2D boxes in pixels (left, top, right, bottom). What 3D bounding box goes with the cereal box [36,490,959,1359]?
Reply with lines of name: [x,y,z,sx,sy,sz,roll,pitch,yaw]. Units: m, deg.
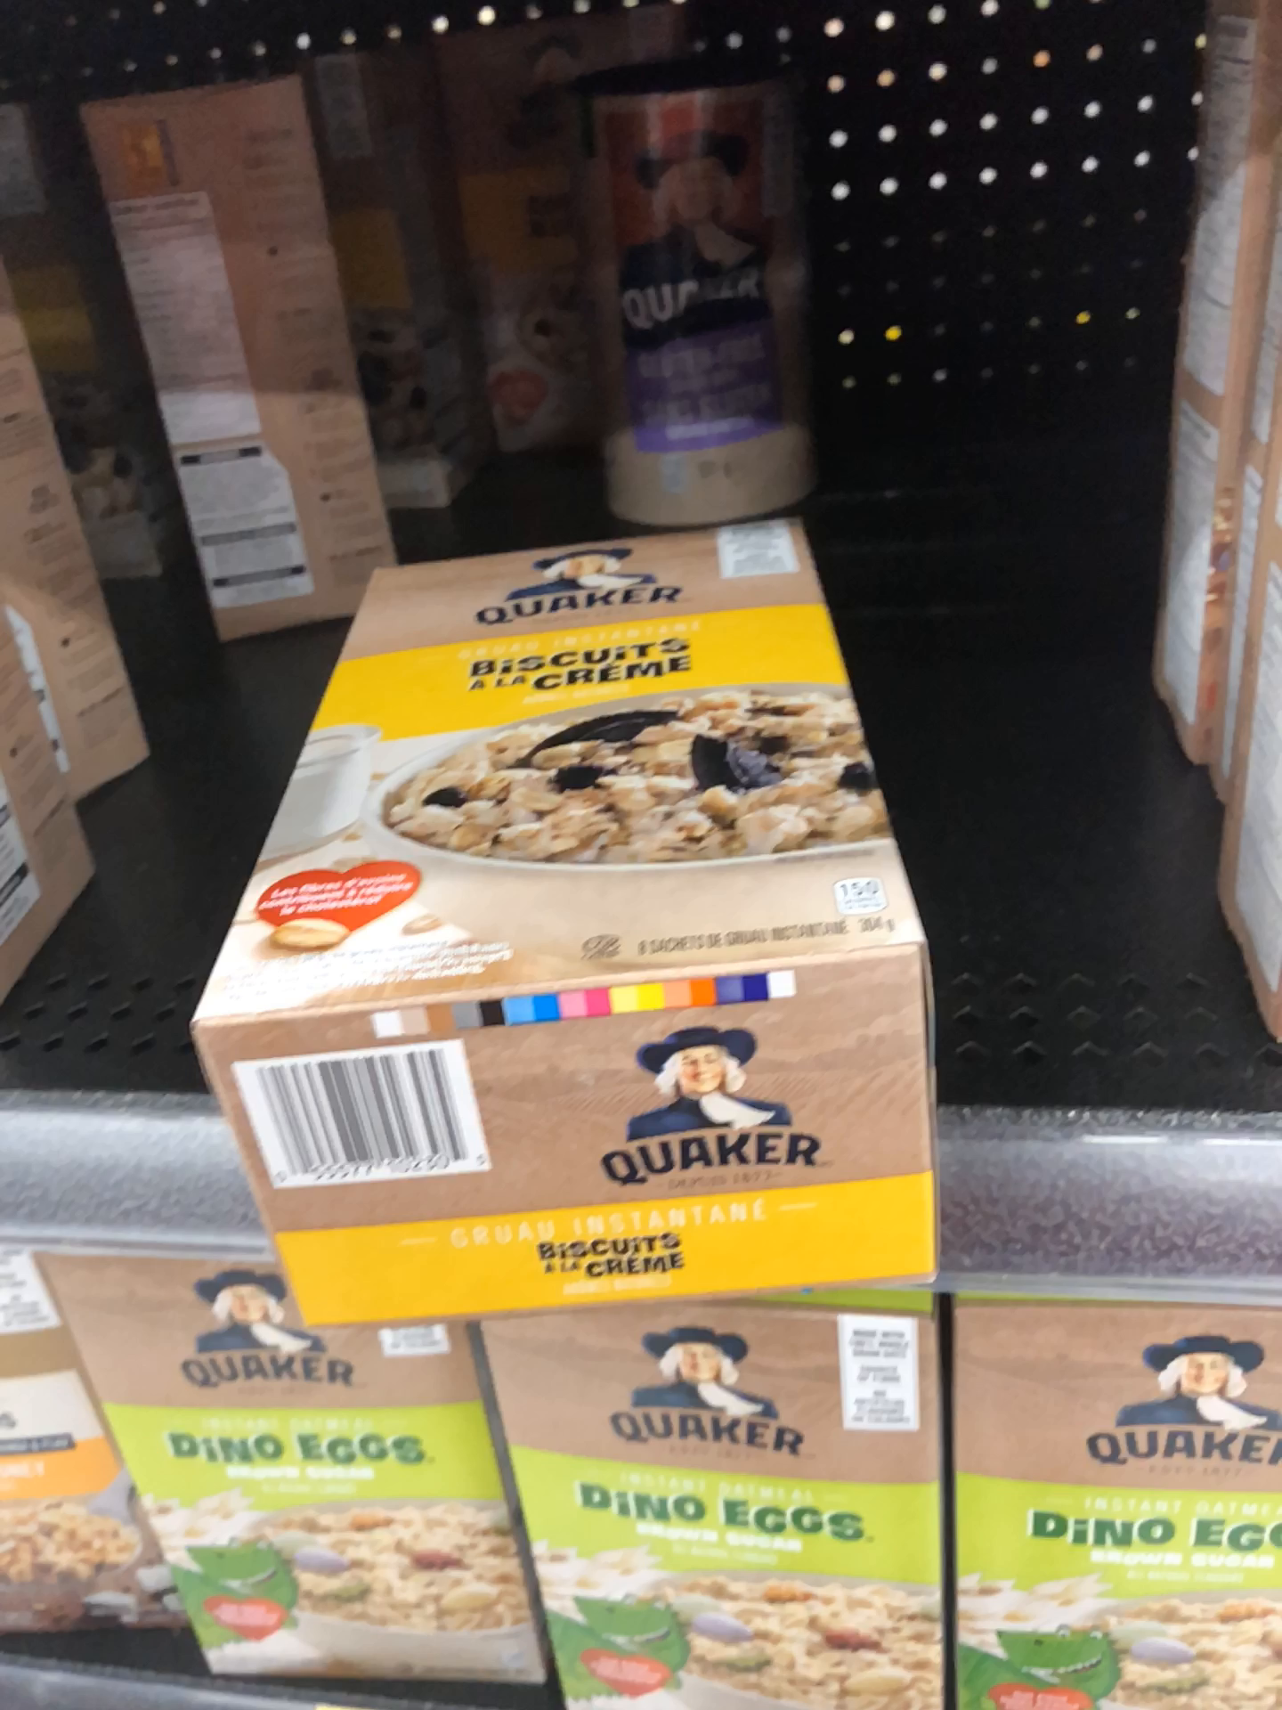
cereal box: [-0.019,-0.004,0.322,0.140,0.070,0.211,-6,33,4]
